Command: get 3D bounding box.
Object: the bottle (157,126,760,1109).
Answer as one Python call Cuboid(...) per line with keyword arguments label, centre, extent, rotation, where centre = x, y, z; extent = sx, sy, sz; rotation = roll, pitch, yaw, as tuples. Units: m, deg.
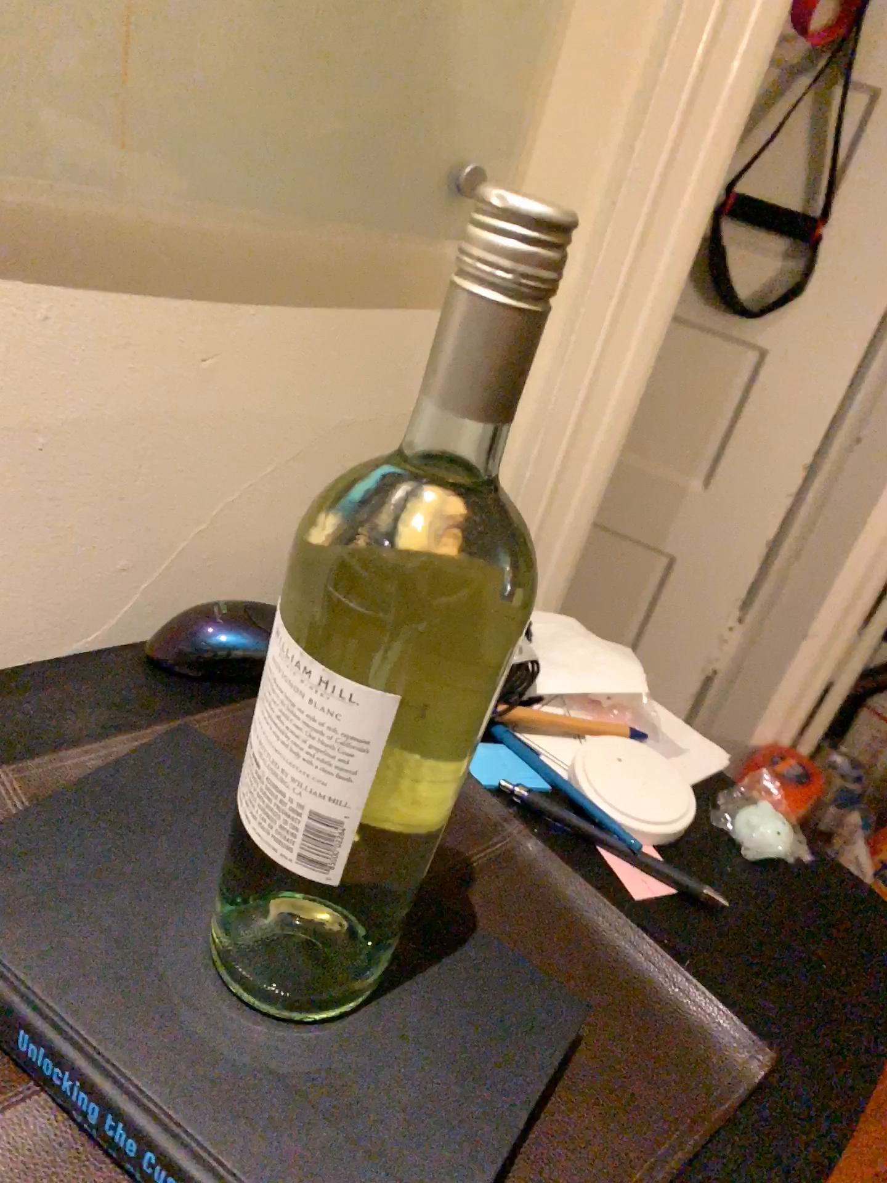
Cuboid(label="bottle", centre=(-0.015, 0.024, 0.307), extent=(0.090, 0.298, 0.090), rotation=(13, 28, -7))
